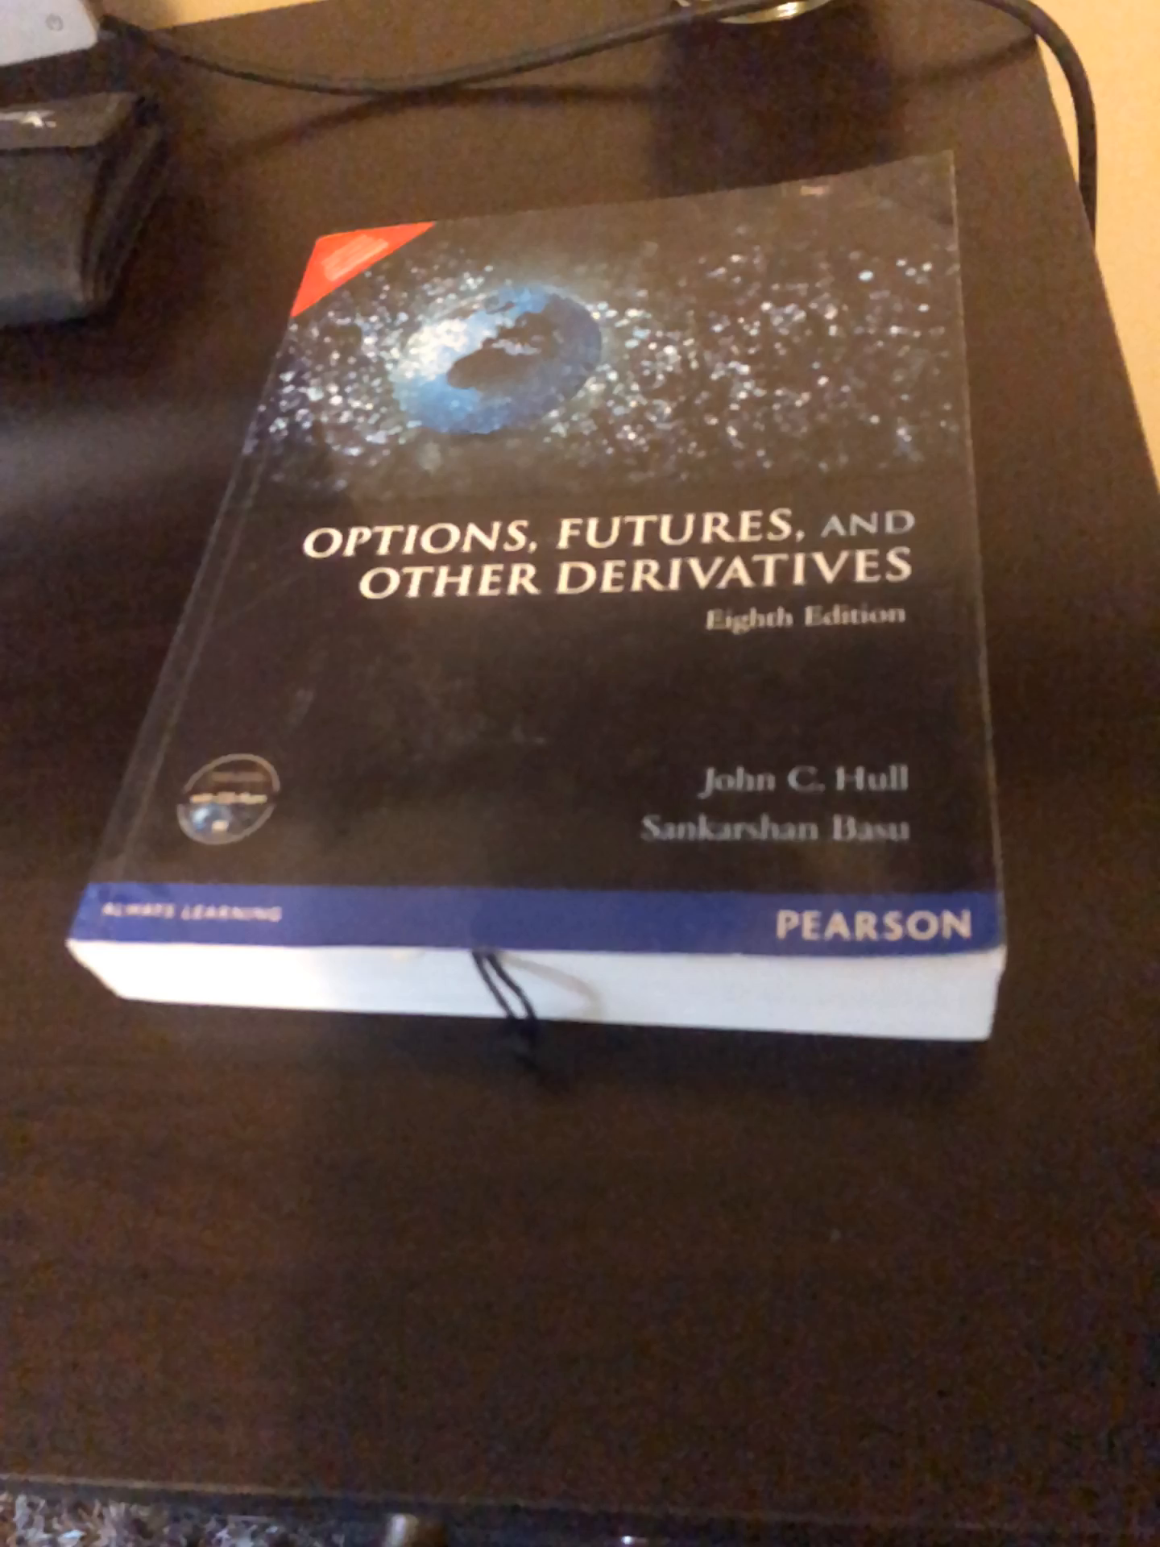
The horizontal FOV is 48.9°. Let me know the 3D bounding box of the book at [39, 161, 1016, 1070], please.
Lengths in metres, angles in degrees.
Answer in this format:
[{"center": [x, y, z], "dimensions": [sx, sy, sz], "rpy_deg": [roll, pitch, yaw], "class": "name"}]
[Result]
[{"center": [0.000, -0.059, 0.352], "dimensions": [0.207, 0.050, 0.262], "rpy_deg": [0, 58, 12], "class": "book"}]
